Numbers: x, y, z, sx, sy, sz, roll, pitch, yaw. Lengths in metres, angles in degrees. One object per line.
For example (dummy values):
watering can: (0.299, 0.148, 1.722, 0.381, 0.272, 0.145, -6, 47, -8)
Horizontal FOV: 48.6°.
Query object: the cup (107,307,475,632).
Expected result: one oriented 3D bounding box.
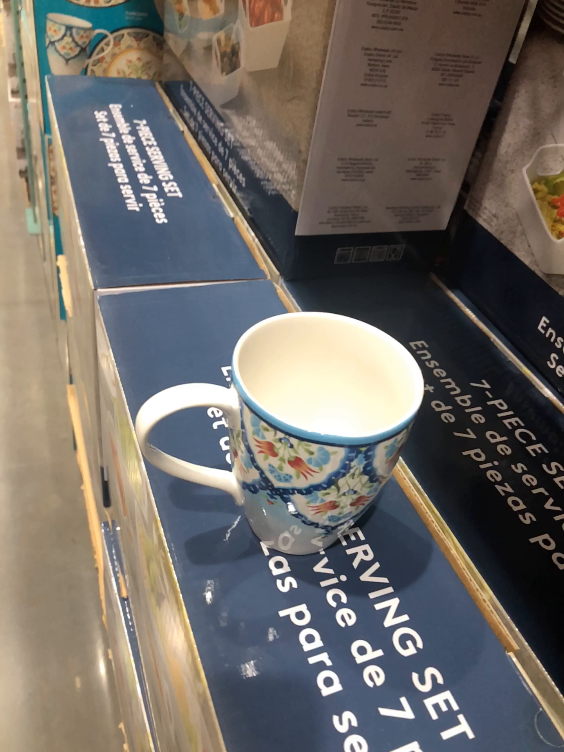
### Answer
cup: (-0.005, 0.038, 0.298, 0.137, 0.096, 0.090, -8, 43, -22)
